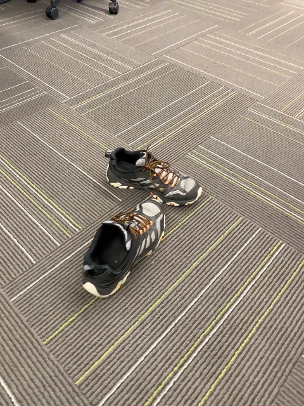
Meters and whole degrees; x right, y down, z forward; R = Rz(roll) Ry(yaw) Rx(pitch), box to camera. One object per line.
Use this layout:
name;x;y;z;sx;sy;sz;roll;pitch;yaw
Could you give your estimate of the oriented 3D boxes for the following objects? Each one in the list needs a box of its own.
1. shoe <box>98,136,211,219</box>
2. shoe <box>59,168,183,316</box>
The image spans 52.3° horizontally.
shoe;0.006;-0.081;0.936;0.300;0.119;0.120;19;51;15
shoe;-0.061;0.087;0.817;0.140;0.149;0.341;23;53;18
